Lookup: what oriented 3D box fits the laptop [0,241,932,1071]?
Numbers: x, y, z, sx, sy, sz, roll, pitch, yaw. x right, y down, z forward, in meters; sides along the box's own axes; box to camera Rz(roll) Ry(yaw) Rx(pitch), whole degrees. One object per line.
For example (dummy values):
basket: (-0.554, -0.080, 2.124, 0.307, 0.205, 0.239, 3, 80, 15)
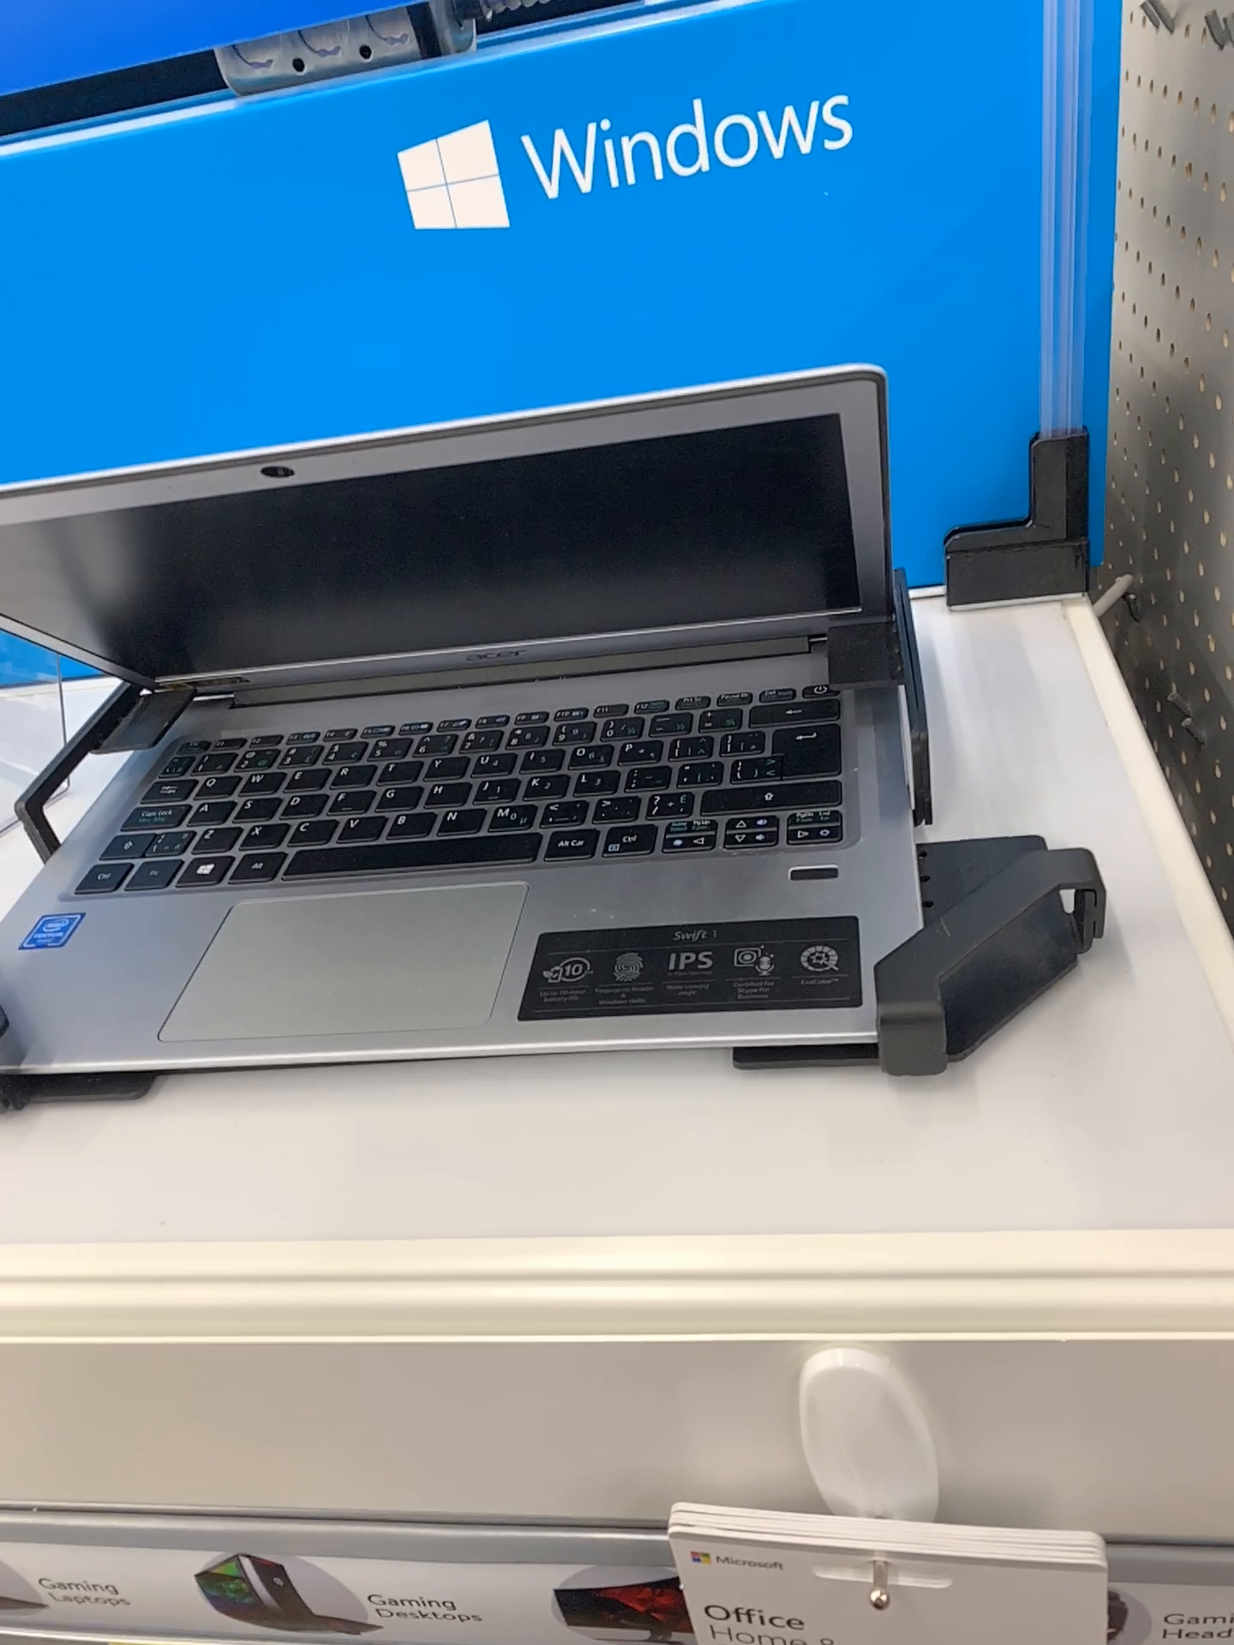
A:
laptop: (-0.072, -0.057, 0.391, 0.305, 0.141, 0.214, -4, 34, 12)
